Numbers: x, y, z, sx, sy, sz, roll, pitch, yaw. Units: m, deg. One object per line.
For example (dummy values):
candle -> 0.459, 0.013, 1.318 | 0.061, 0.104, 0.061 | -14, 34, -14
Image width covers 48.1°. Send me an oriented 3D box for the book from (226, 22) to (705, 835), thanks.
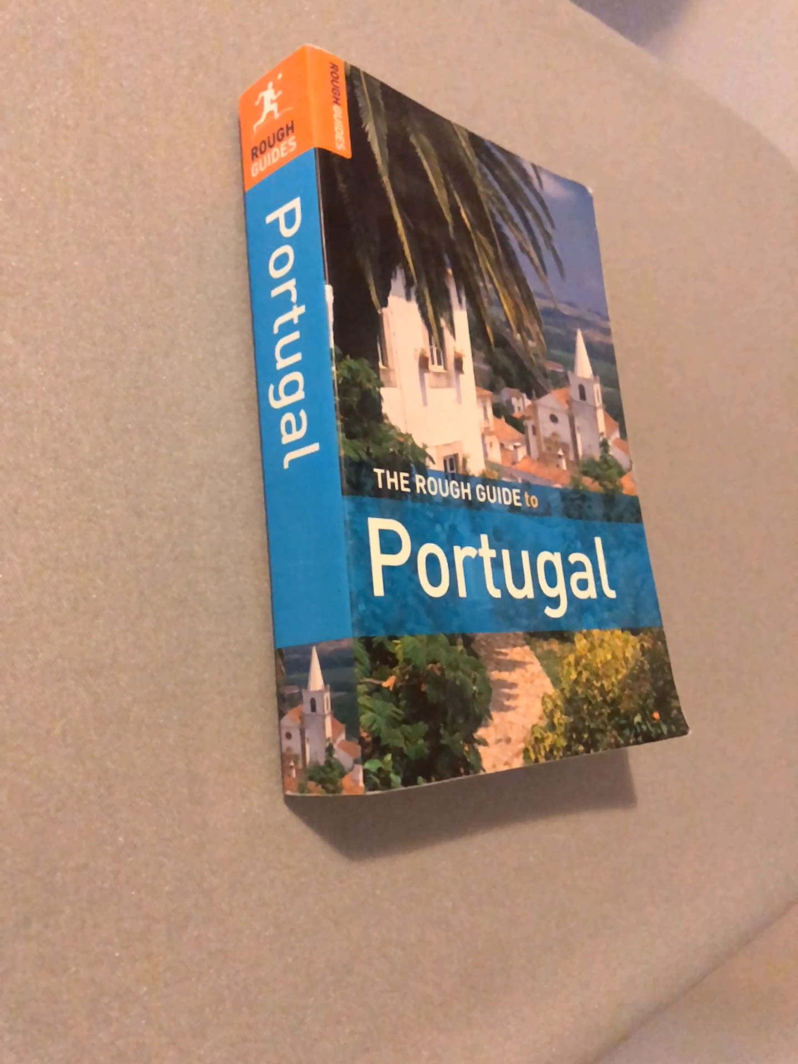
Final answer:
book -> 0.024, -0.026, 0.276 | 0.139, 0.040, 0.204 | 4, 75, -43
